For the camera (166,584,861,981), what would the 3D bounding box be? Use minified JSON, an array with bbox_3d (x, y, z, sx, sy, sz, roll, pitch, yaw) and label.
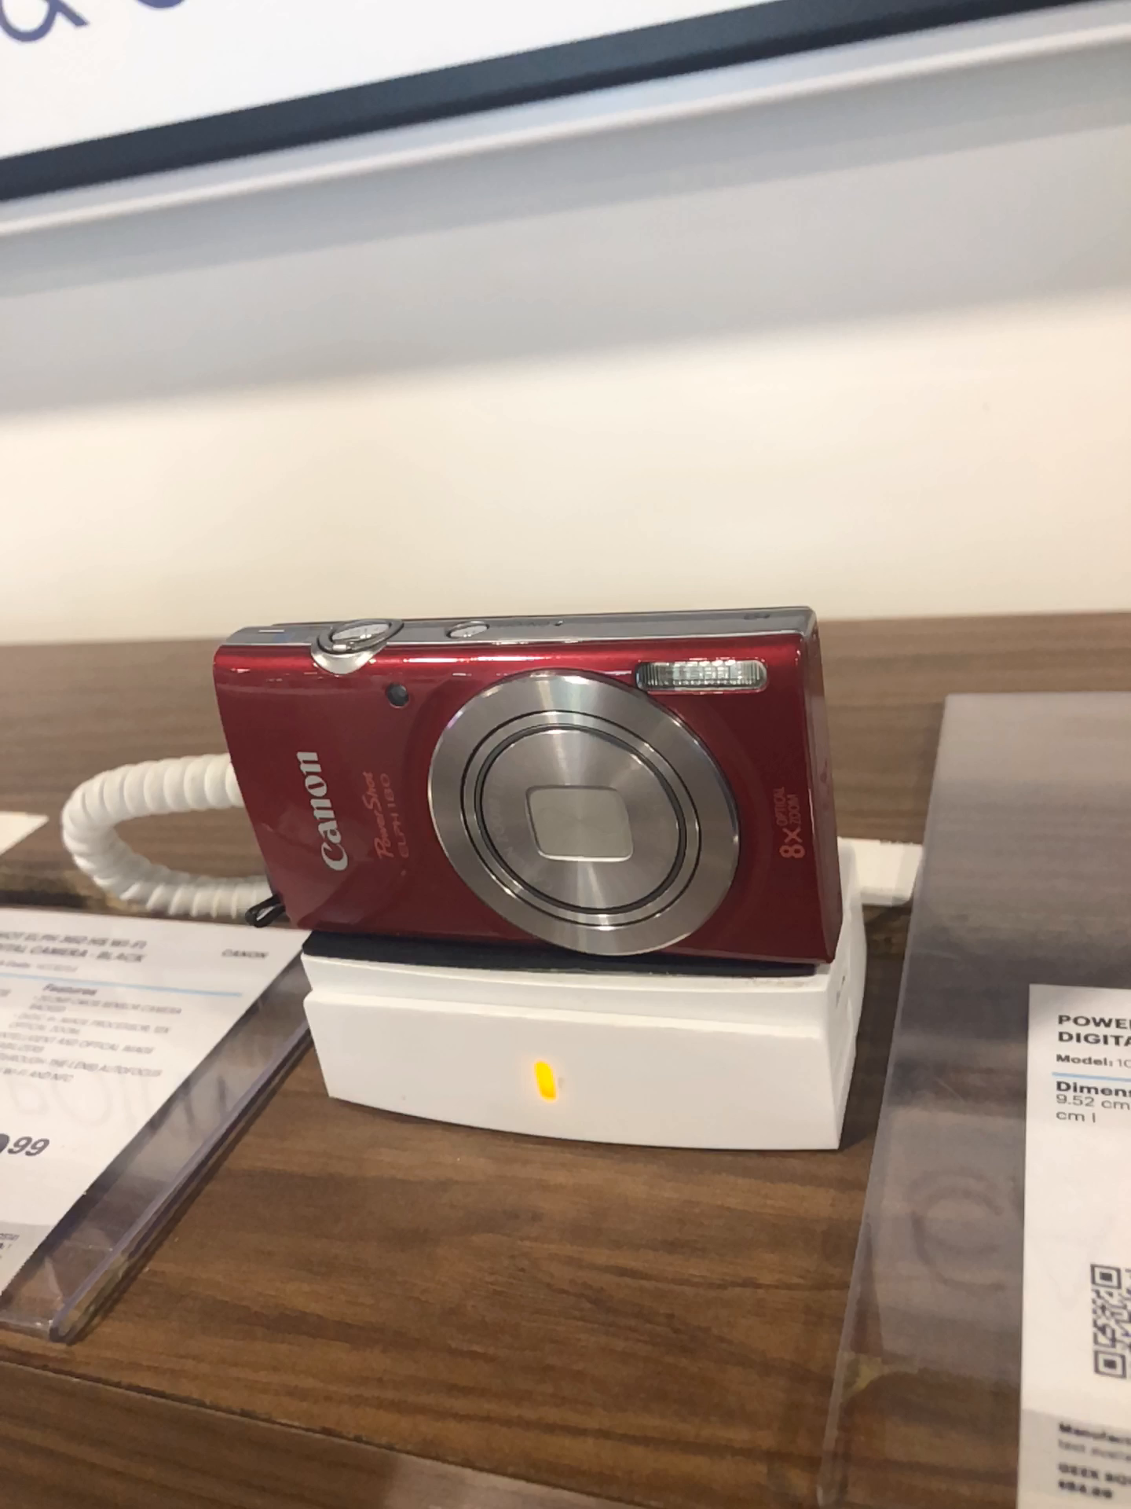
[{"bbox_3d":[-0.007,0.004,0.196,0.097,0.051,0.023,1,31,22],"label":"camera"}]
